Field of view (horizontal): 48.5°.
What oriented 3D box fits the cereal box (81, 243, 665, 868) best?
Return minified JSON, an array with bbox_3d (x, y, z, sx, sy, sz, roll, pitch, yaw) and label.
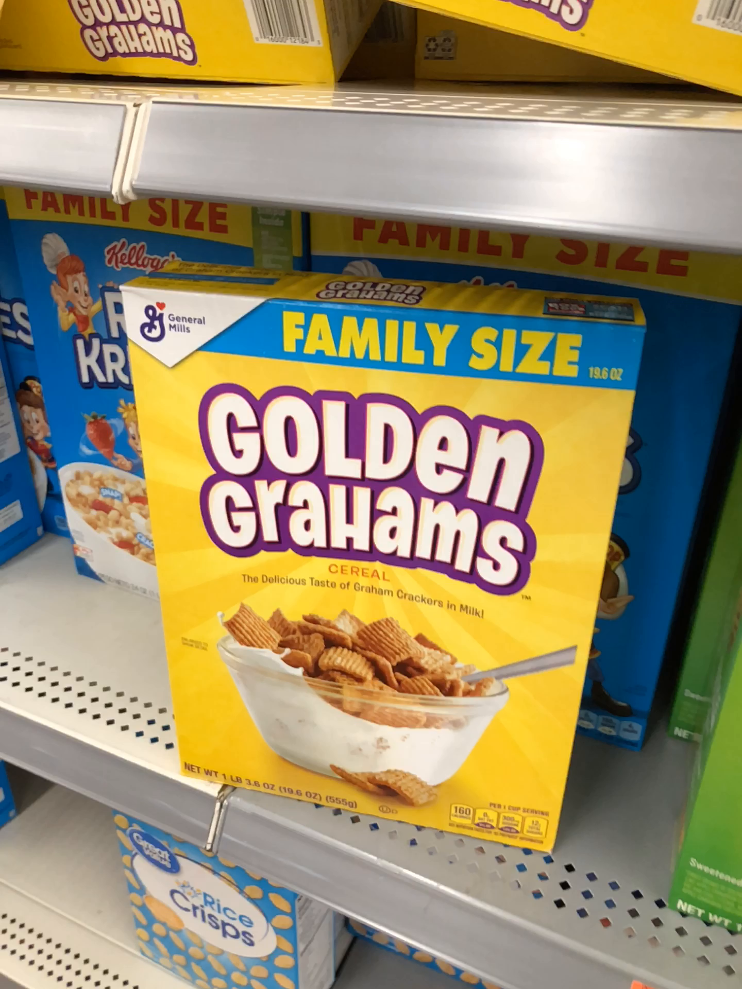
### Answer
[{"bbox_3d":[-0.001,0.040,0.434,0.240,0.309,0.070,7,30,12],"label":"cereal box"}]
